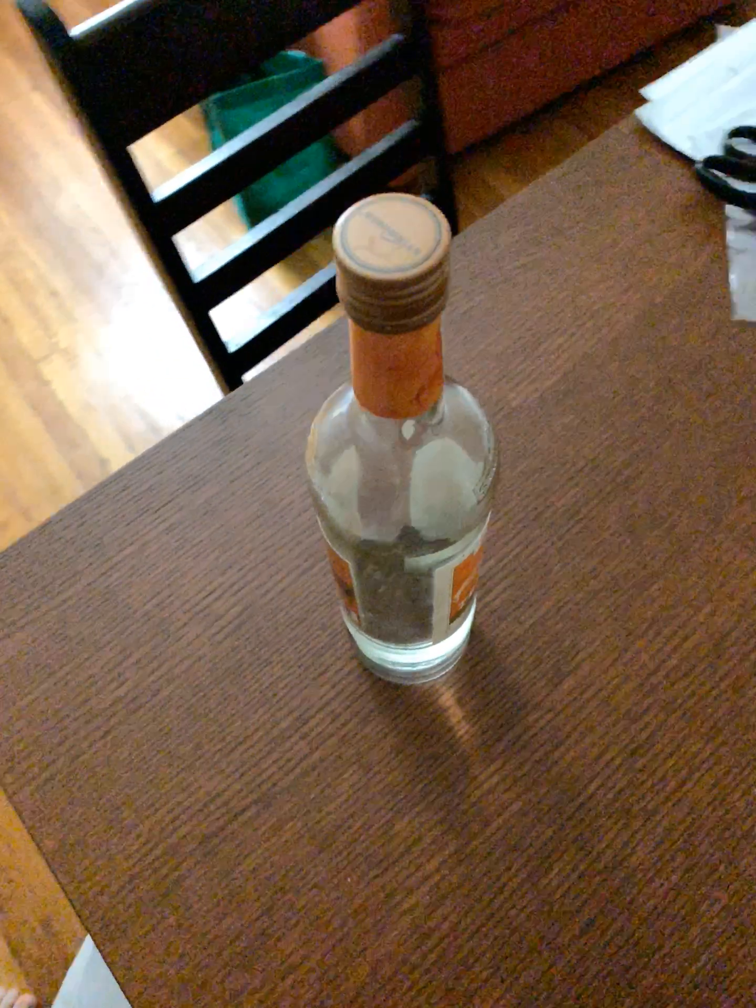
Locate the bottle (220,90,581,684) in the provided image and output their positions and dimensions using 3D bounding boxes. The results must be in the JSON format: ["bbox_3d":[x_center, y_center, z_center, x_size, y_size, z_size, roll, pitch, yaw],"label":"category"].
[{"bbox_3d":[0.014,-0.006,0.327,0.080,0.299,0.090,2,64,4],"label":"bottle"}]
